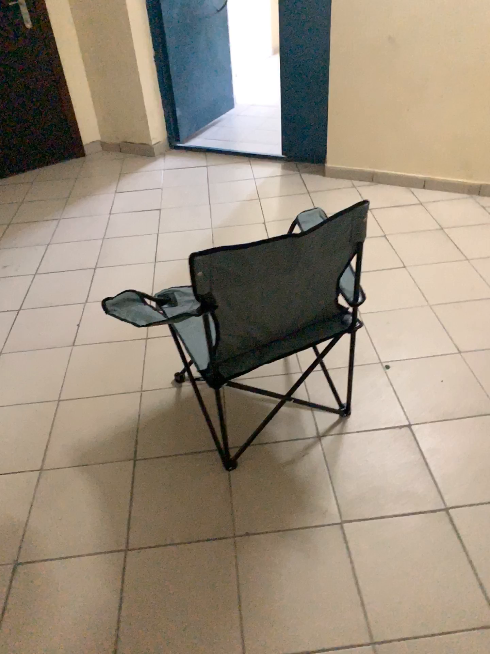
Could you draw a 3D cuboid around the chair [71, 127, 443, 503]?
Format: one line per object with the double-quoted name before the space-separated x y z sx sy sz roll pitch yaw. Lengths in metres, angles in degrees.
"chair" 0.032 -0.073 1.542 0.800 0.756 0.563 -21 42 -20
